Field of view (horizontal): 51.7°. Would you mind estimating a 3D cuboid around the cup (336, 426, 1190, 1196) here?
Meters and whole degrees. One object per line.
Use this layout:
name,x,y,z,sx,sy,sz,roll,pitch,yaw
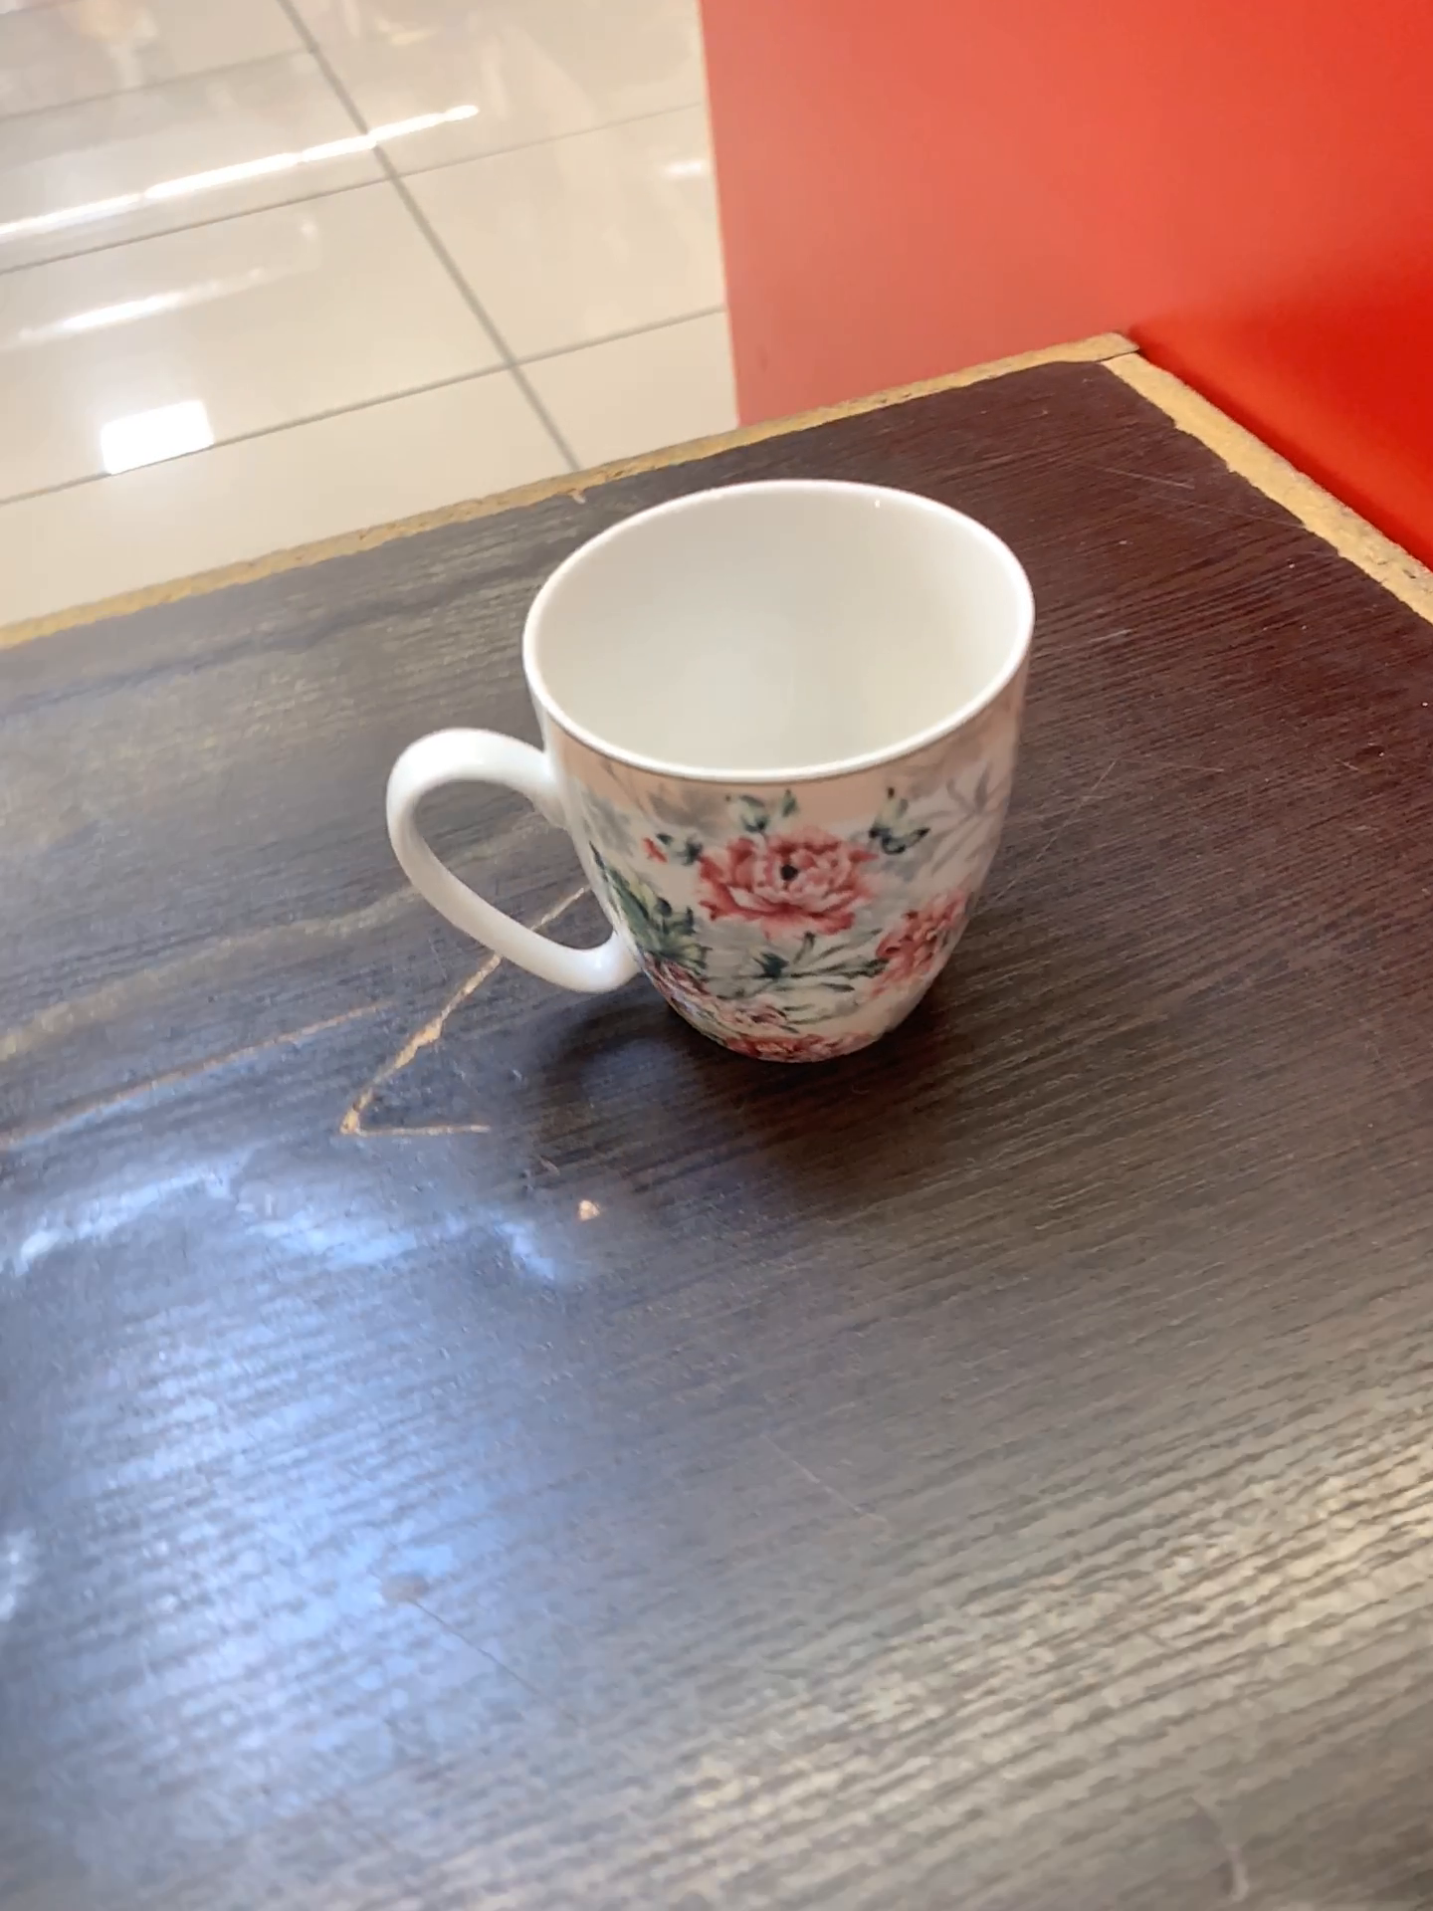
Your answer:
cup,0.003,-0.025,0.243,0.110,0.070,0.080,-13,47,-5
